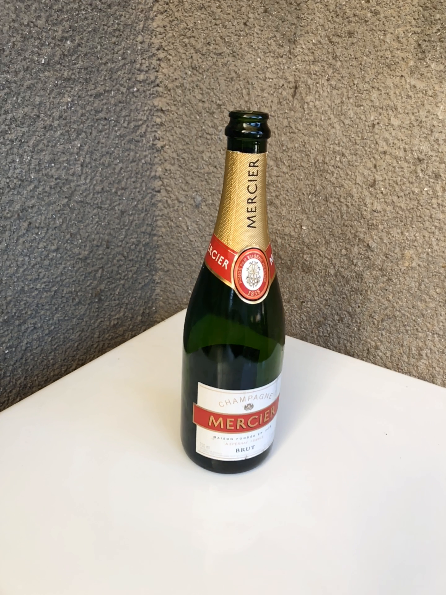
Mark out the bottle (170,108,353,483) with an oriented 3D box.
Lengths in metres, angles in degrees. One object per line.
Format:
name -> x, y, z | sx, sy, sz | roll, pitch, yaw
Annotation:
bottle -> 0.016, 0.003, 0.408 | 0.100, 0.288, 0.090 | -4, 26, -16
